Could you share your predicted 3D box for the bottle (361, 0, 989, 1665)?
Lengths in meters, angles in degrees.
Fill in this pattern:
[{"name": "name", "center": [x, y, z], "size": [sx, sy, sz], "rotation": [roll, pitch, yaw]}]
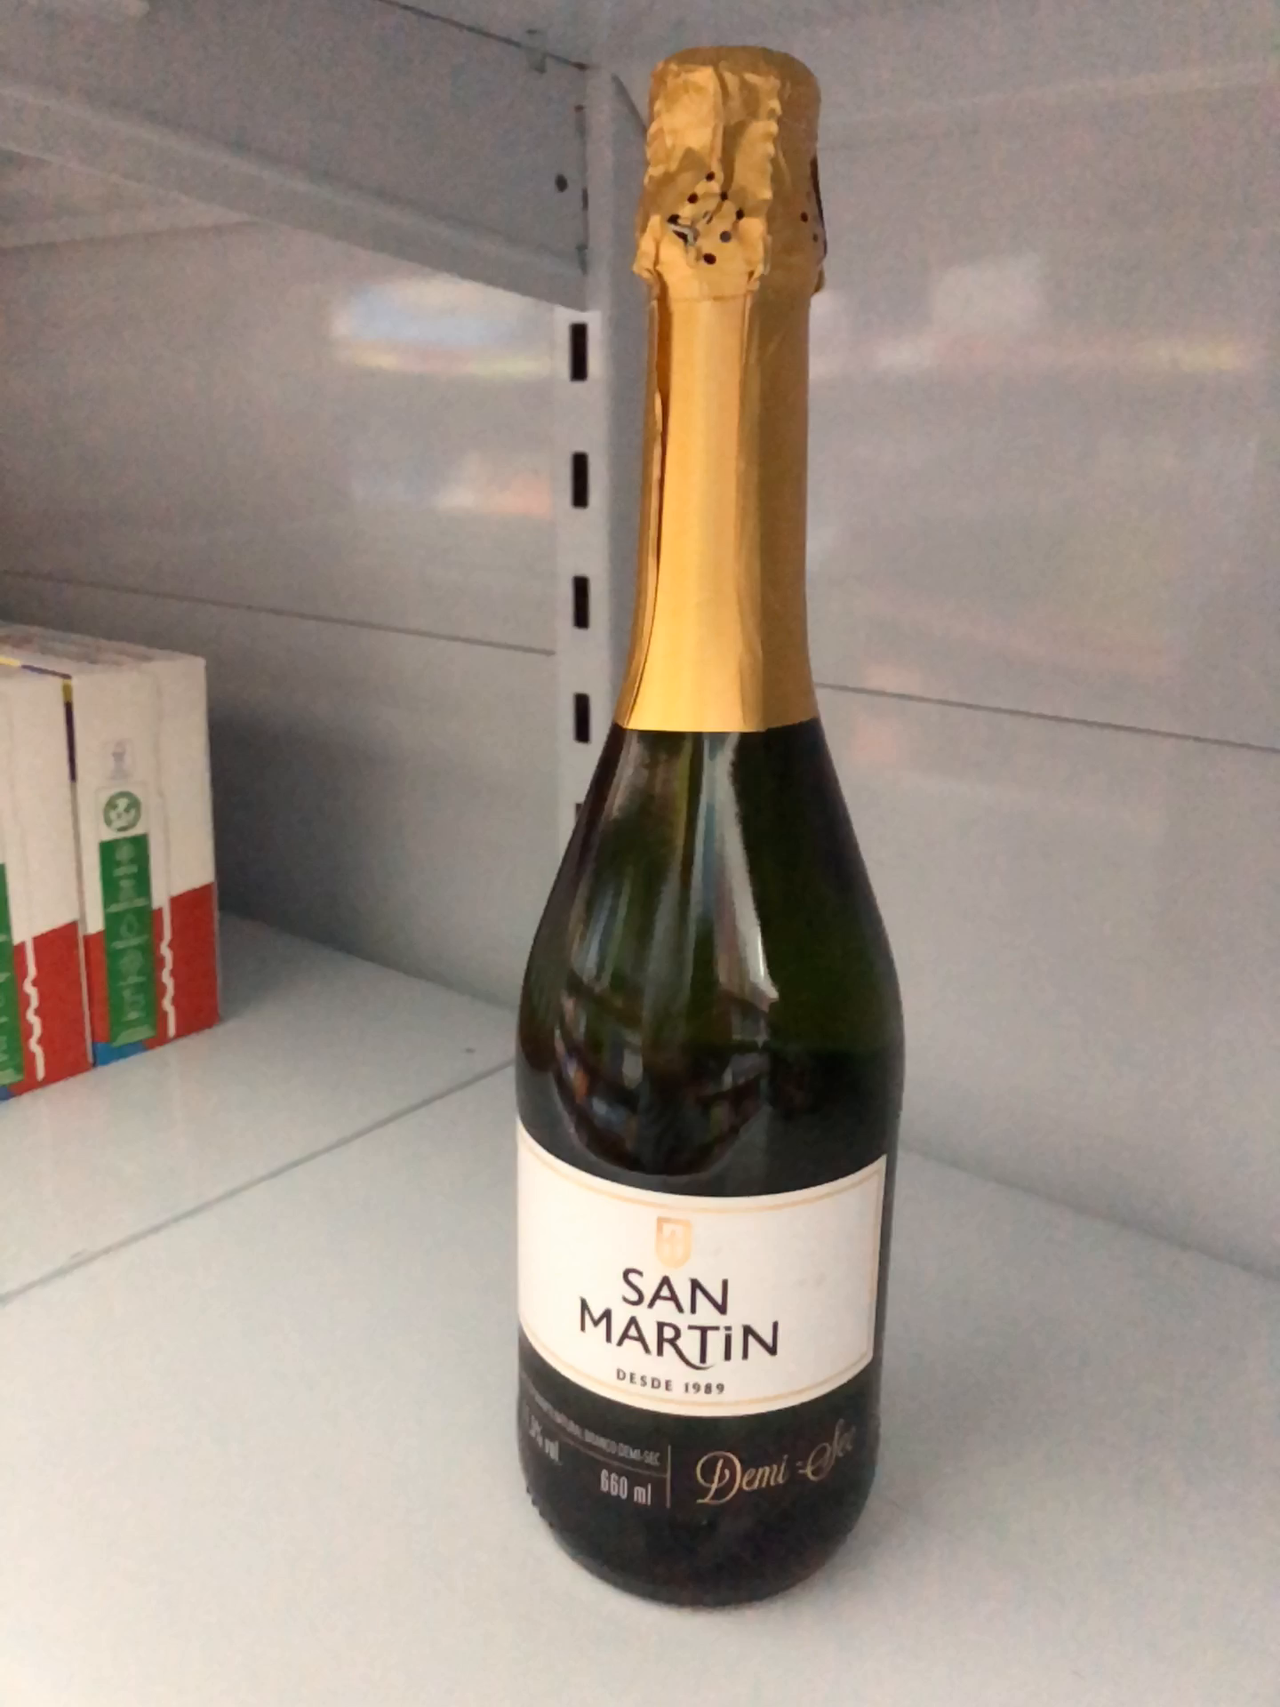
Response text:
[{"name": "bottle", "center": [0.011, -0.006, 0.281], "size": [0.090, 0.308, 0.080], "rotation": [4, 16, 13]}]
